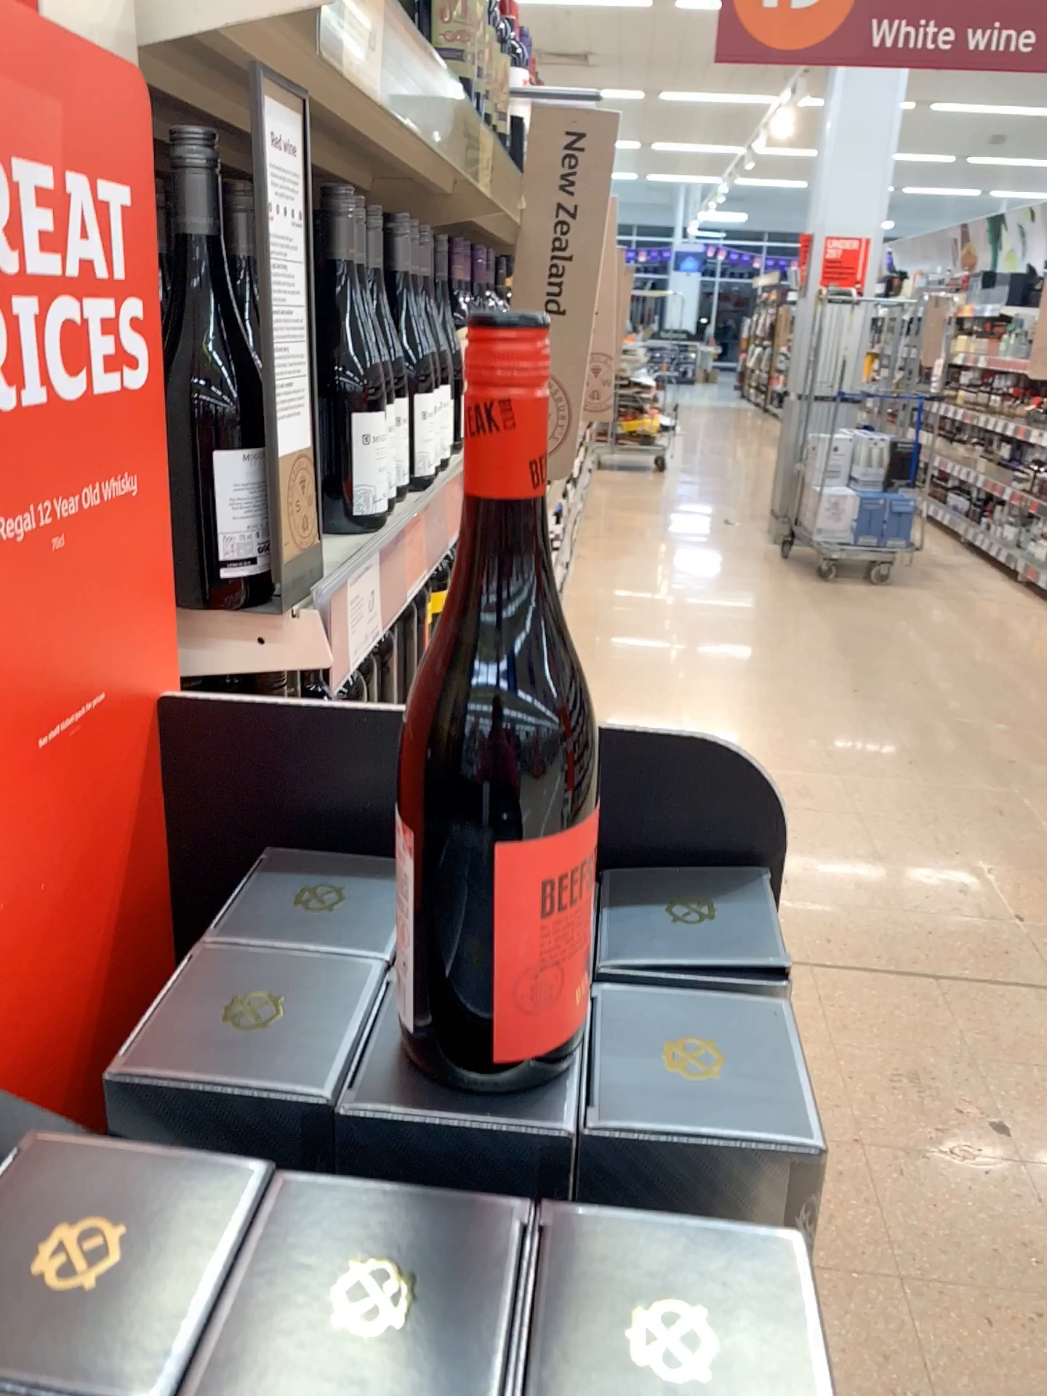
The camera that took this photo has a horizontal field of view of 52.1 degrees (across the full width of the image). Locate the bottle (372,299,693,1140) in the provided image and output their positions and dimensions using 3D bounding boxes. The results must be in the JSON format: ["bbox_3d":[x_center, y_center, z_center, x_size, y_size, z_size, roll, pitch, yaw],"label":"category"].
[{"bbox_3d":[0.000,0.008,0.395,0.080,0.284,0.083,3,19,-1],"label":"bottle"}]
